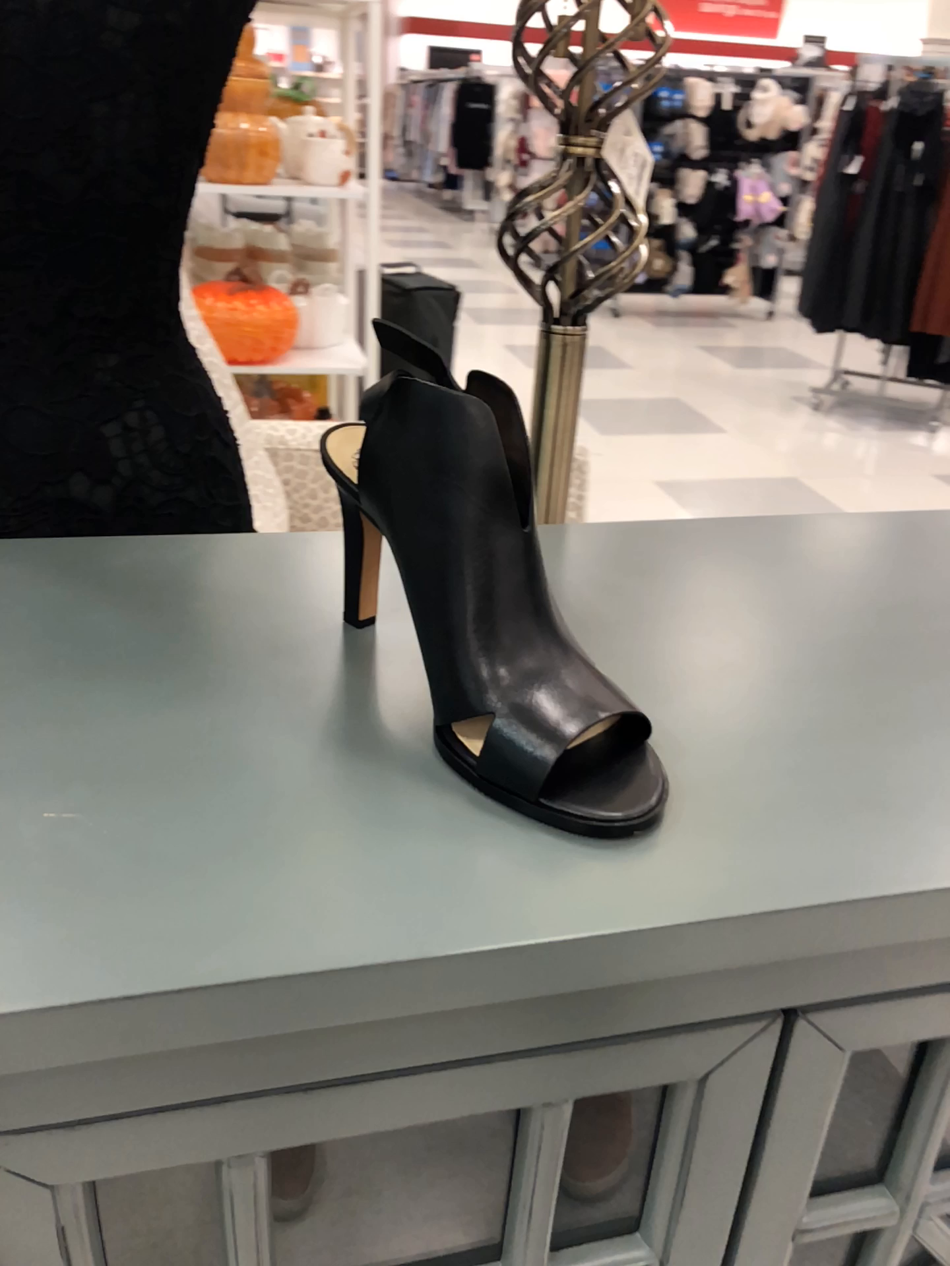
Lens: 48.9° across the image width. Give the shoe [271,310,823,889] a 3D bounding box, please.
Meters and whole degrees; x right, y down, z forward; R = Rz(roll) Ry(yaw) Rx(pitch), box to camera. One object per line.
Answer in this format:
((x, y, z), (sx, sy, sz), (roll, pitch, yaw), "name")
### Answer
((0.007, -0.036, 0.443), (0.092, 0.151, 0.240), (-14, 31, -31), "shoe")
